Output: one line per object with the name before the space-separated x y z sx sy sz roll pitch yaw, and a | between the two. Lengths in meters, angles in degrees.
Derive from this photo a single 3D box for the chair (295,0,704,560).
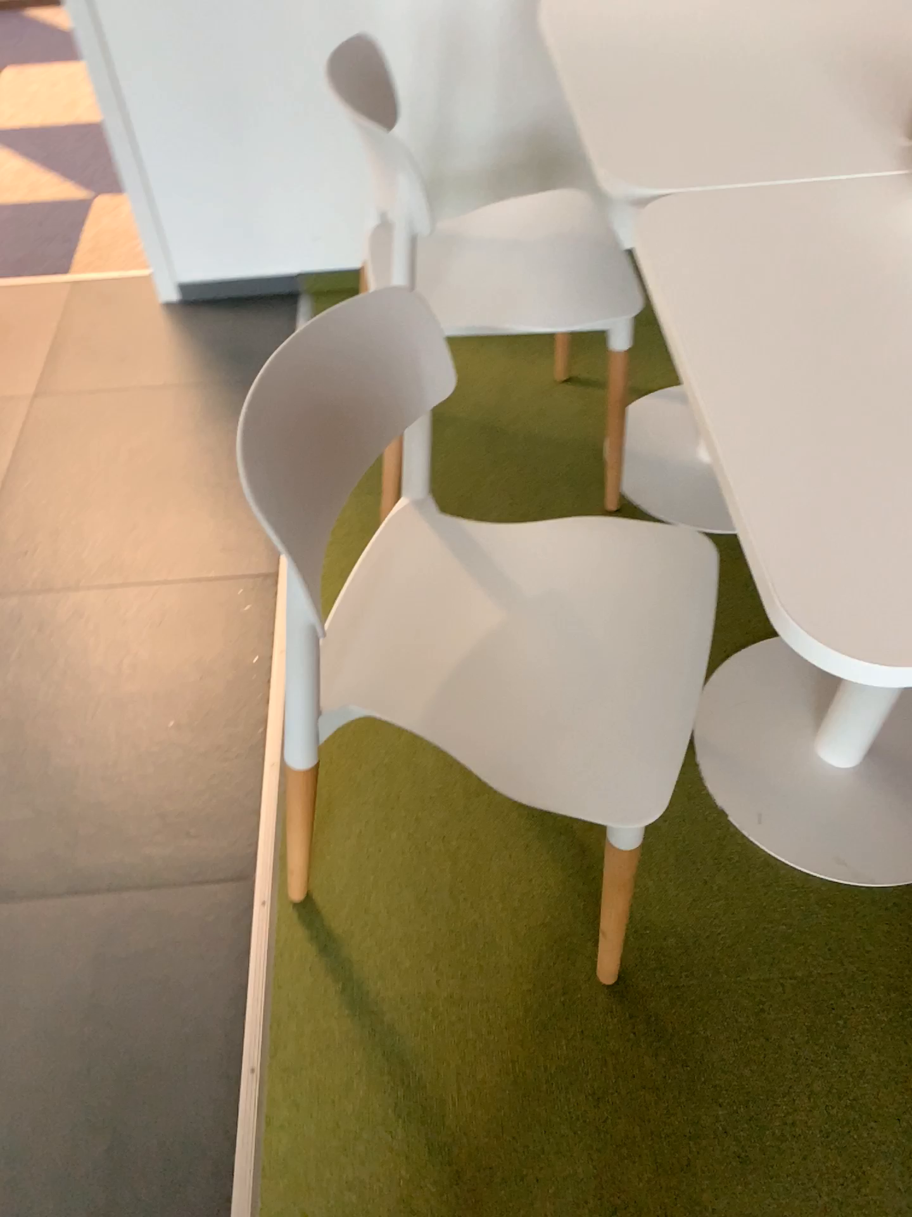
chair | 0.046 -0.575 1.676 0.510 0.727 0.562 -9 51 -5

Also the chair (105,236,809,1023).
chair | 0.049 0.059 1.140 0.500 0.747 0.512 15 53 14
